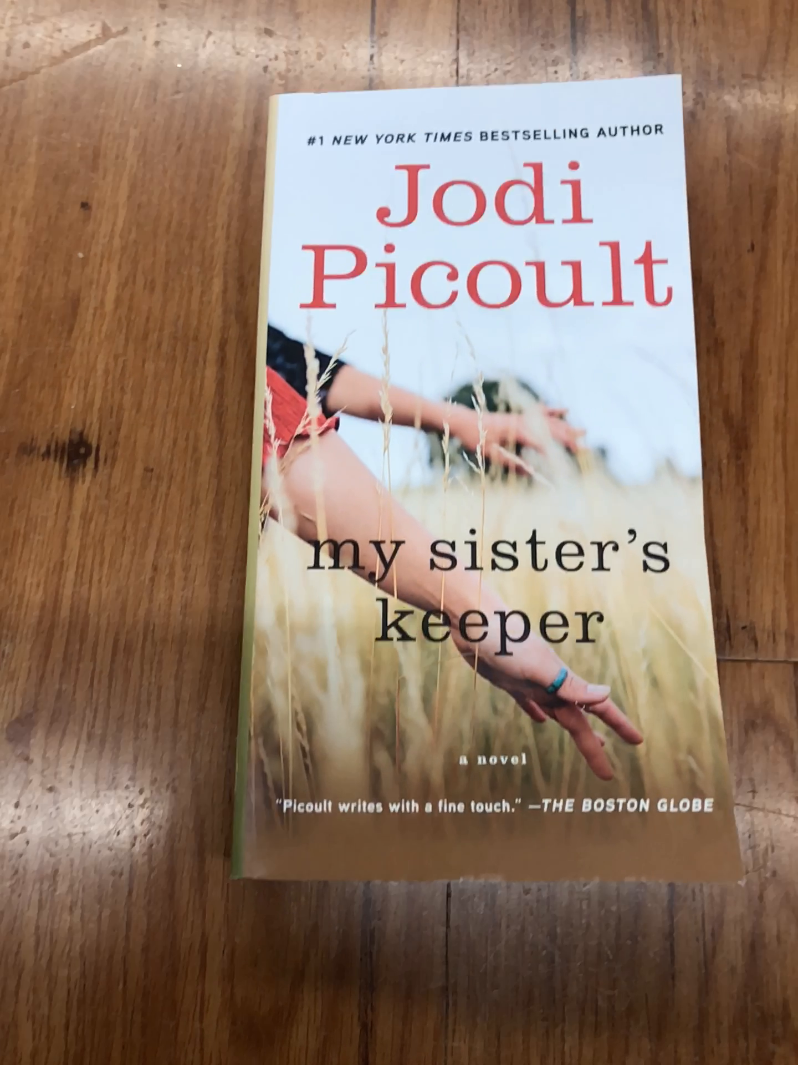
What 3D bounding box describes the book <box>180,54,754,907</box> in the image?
[{"bbox_3d":[0.015,-0.018,0.212,0.110,0.040,0.190,1,77,2],"label":"book"}]
